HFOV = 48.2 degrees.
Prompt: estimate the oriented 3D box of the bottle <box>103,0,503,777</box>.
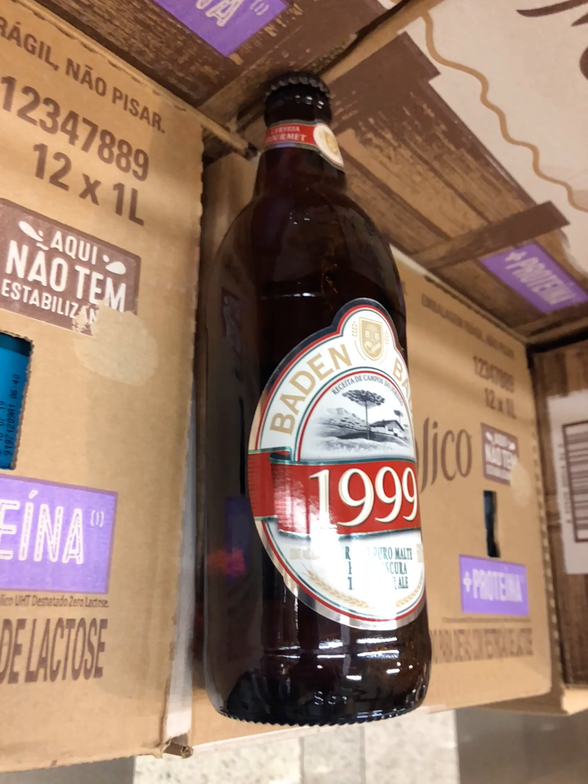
[{"bbox_3d":[-0.006,-0.027,0.256,0.091,0.099,0.280,12,68,-46],"label":"bottle"}]
